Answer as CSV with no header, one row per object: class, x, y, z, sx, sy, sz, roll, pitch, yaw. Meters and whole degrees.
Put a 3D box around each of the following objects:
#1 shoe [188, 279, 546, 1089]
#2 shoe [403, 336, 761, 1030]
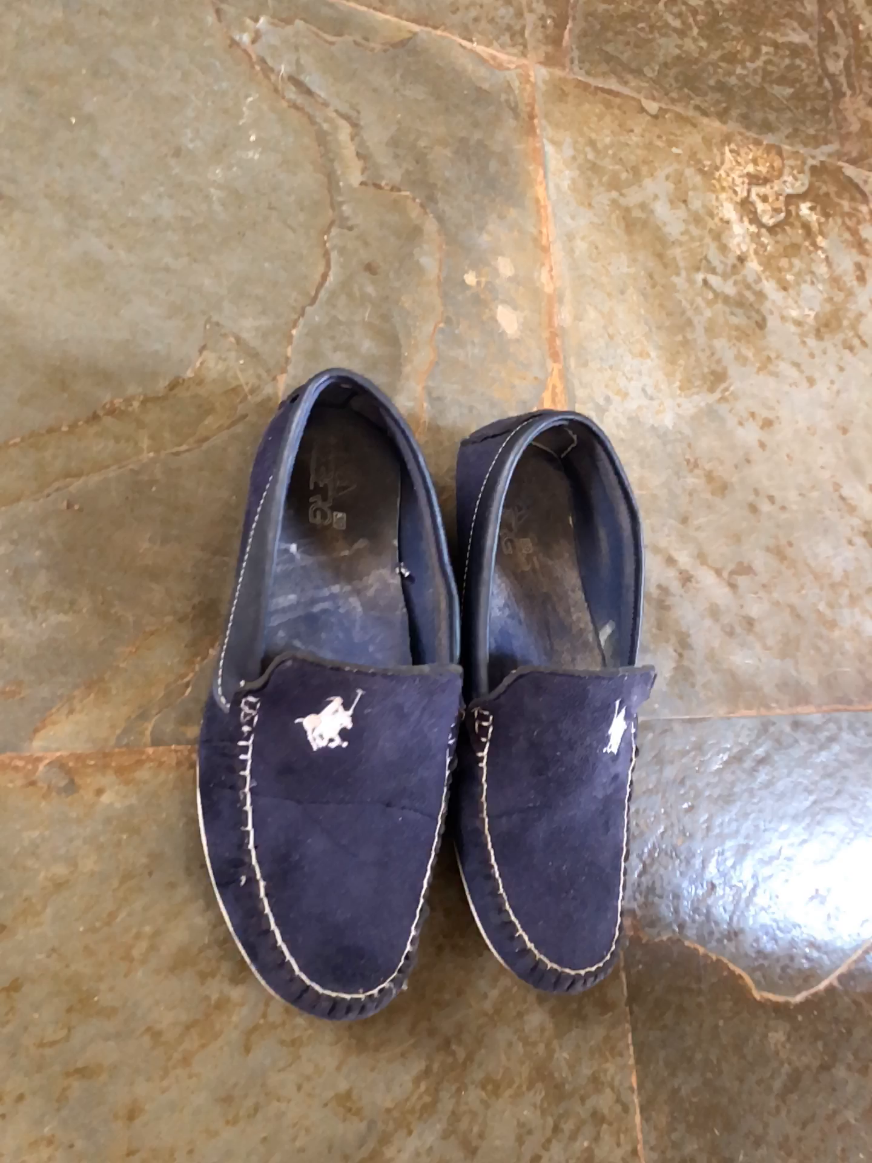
shoe,-0.035,0.033,0.370,0.100,0.089,0.260,3,76,-27
shoe,0.056,0.040,0.422,0.100,0.089,0.260,3,76,-27
